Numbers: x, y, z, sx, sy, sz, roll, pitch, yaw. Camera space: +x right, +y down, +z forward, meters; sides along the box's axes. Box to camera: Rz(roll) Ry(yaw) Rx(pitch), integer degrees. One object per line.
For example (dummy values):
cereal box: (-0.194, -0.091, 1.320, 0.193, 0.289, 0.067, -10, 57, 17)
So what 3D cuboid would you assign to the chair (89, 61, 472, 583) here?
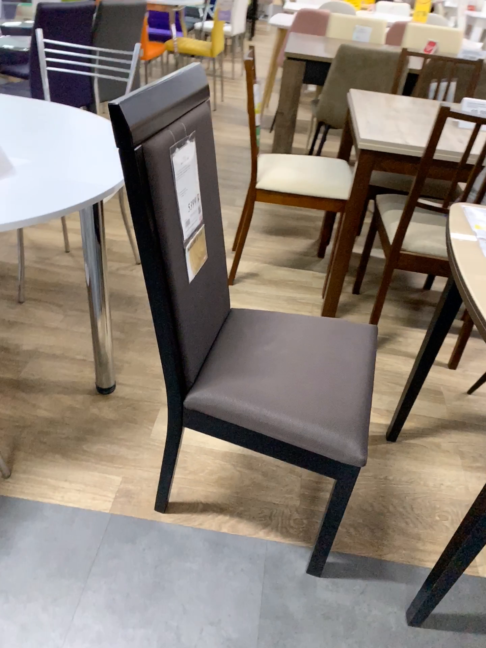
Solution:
chair: (0.046, 0.041, 1.103, 0.500, 0.994, 0.443, 14, 38, 9)
